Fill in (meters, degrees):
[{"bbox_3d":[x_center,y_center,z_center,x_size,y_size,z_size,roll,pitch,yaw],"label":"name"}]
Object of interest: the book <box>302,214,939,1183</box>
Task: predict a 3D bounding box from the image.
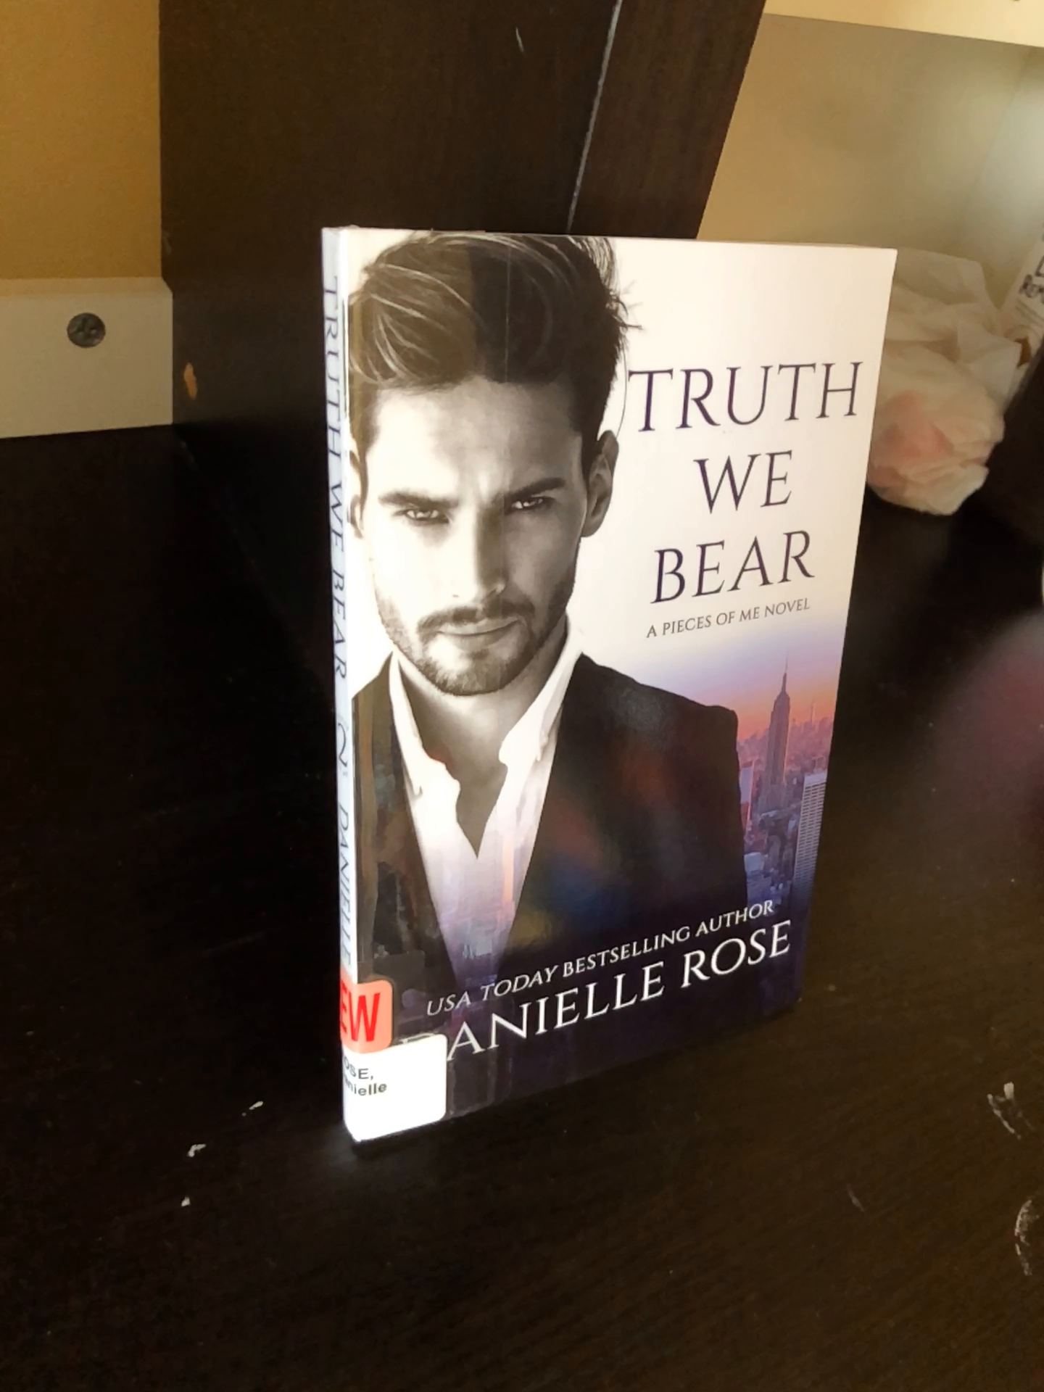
[{"bbox_3d":[0.024,0.003,0.287,0.150,0.220,0.020,-10,26,-29],"label":"book"}]
